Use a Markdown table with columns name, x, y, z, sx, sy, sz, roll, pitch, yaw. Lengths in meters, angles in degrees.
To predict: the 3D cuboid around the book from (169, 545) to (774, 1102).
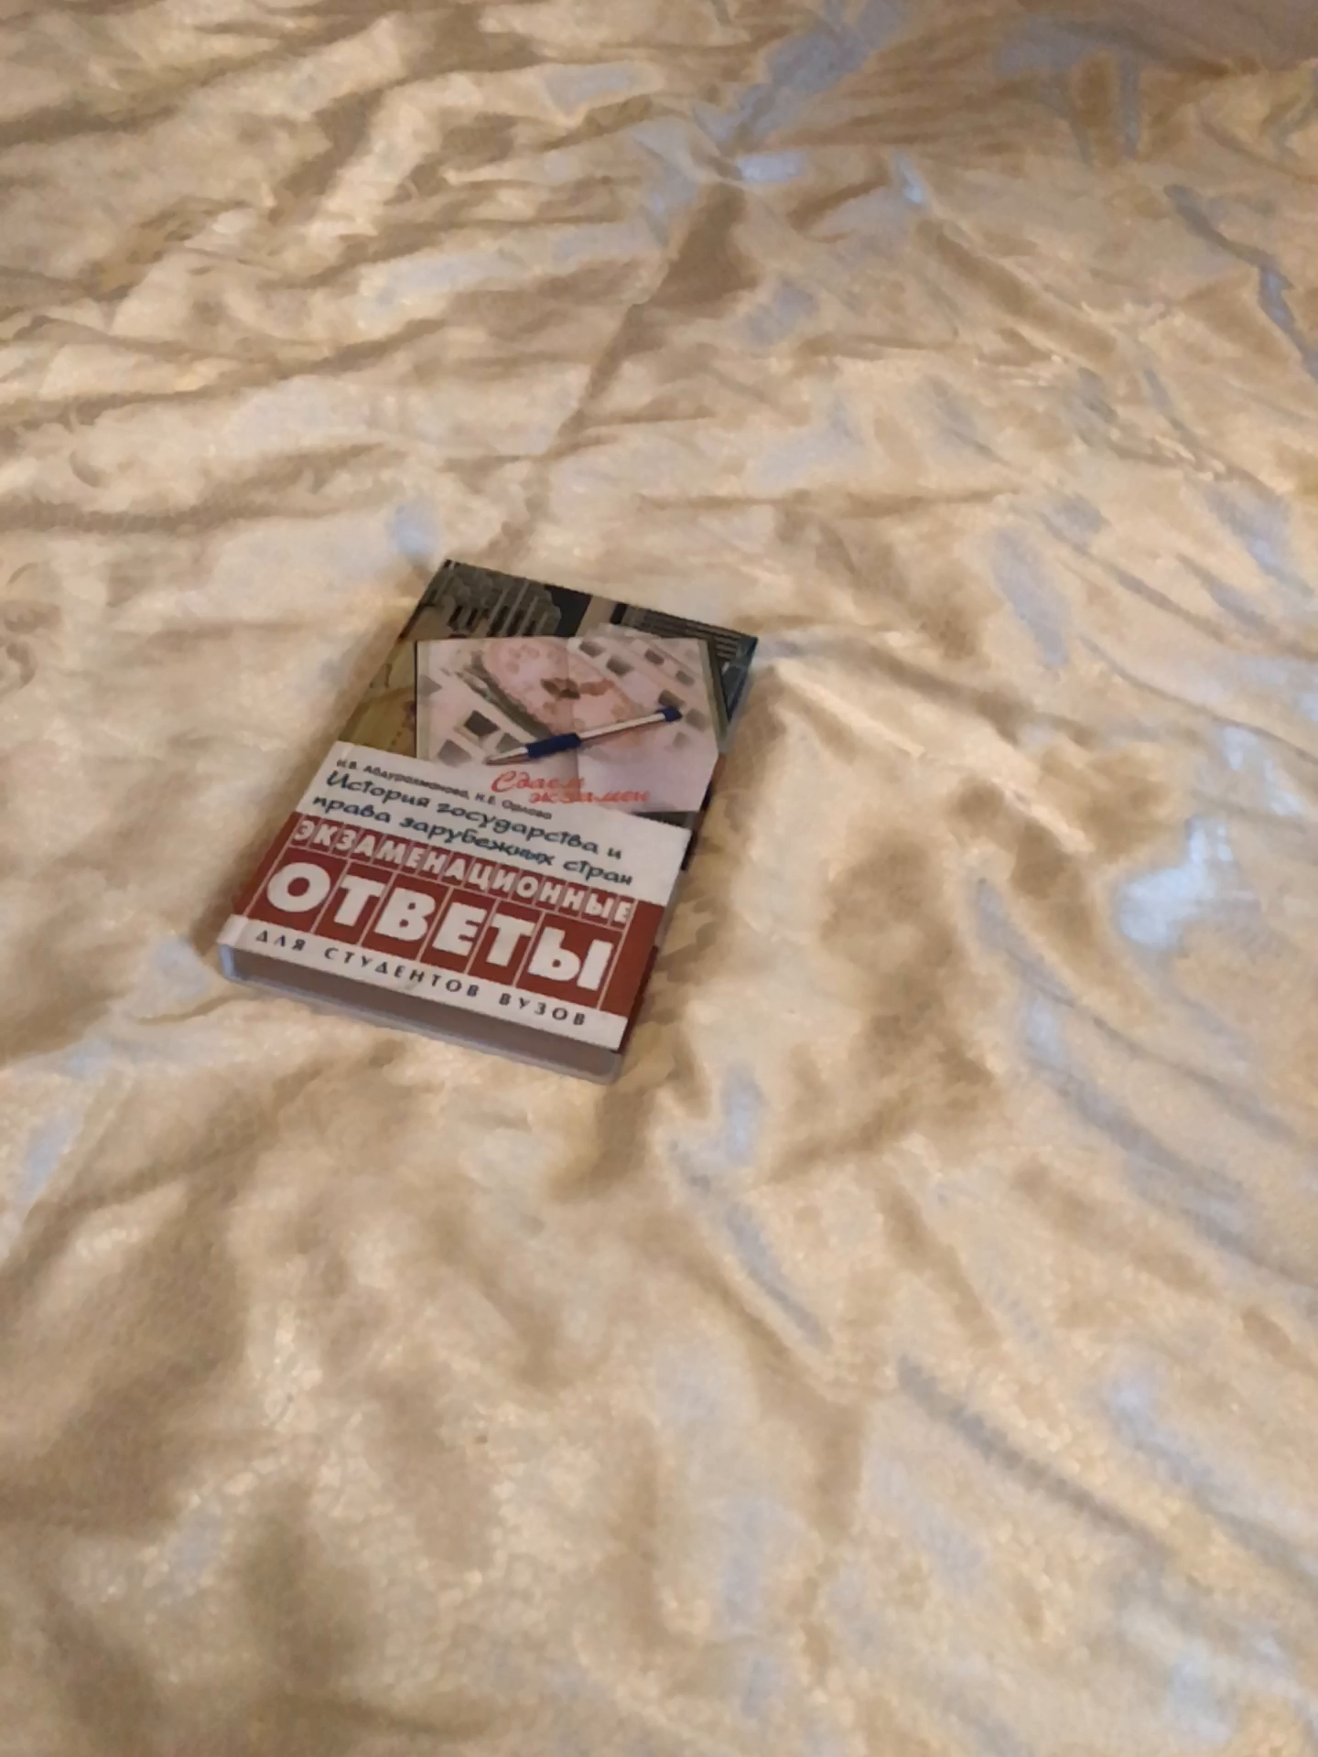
| name | x | y | z | sx | sy | sz | roll | pitch | yaw |
| --- | --- | --- | --- | --- | --- | --- | --- | --- | --- |
| book | -0.056 | -0.033 | 0.529 | 0.150 | 0.030 | 0.211 | 15 | 50 | 7 |
